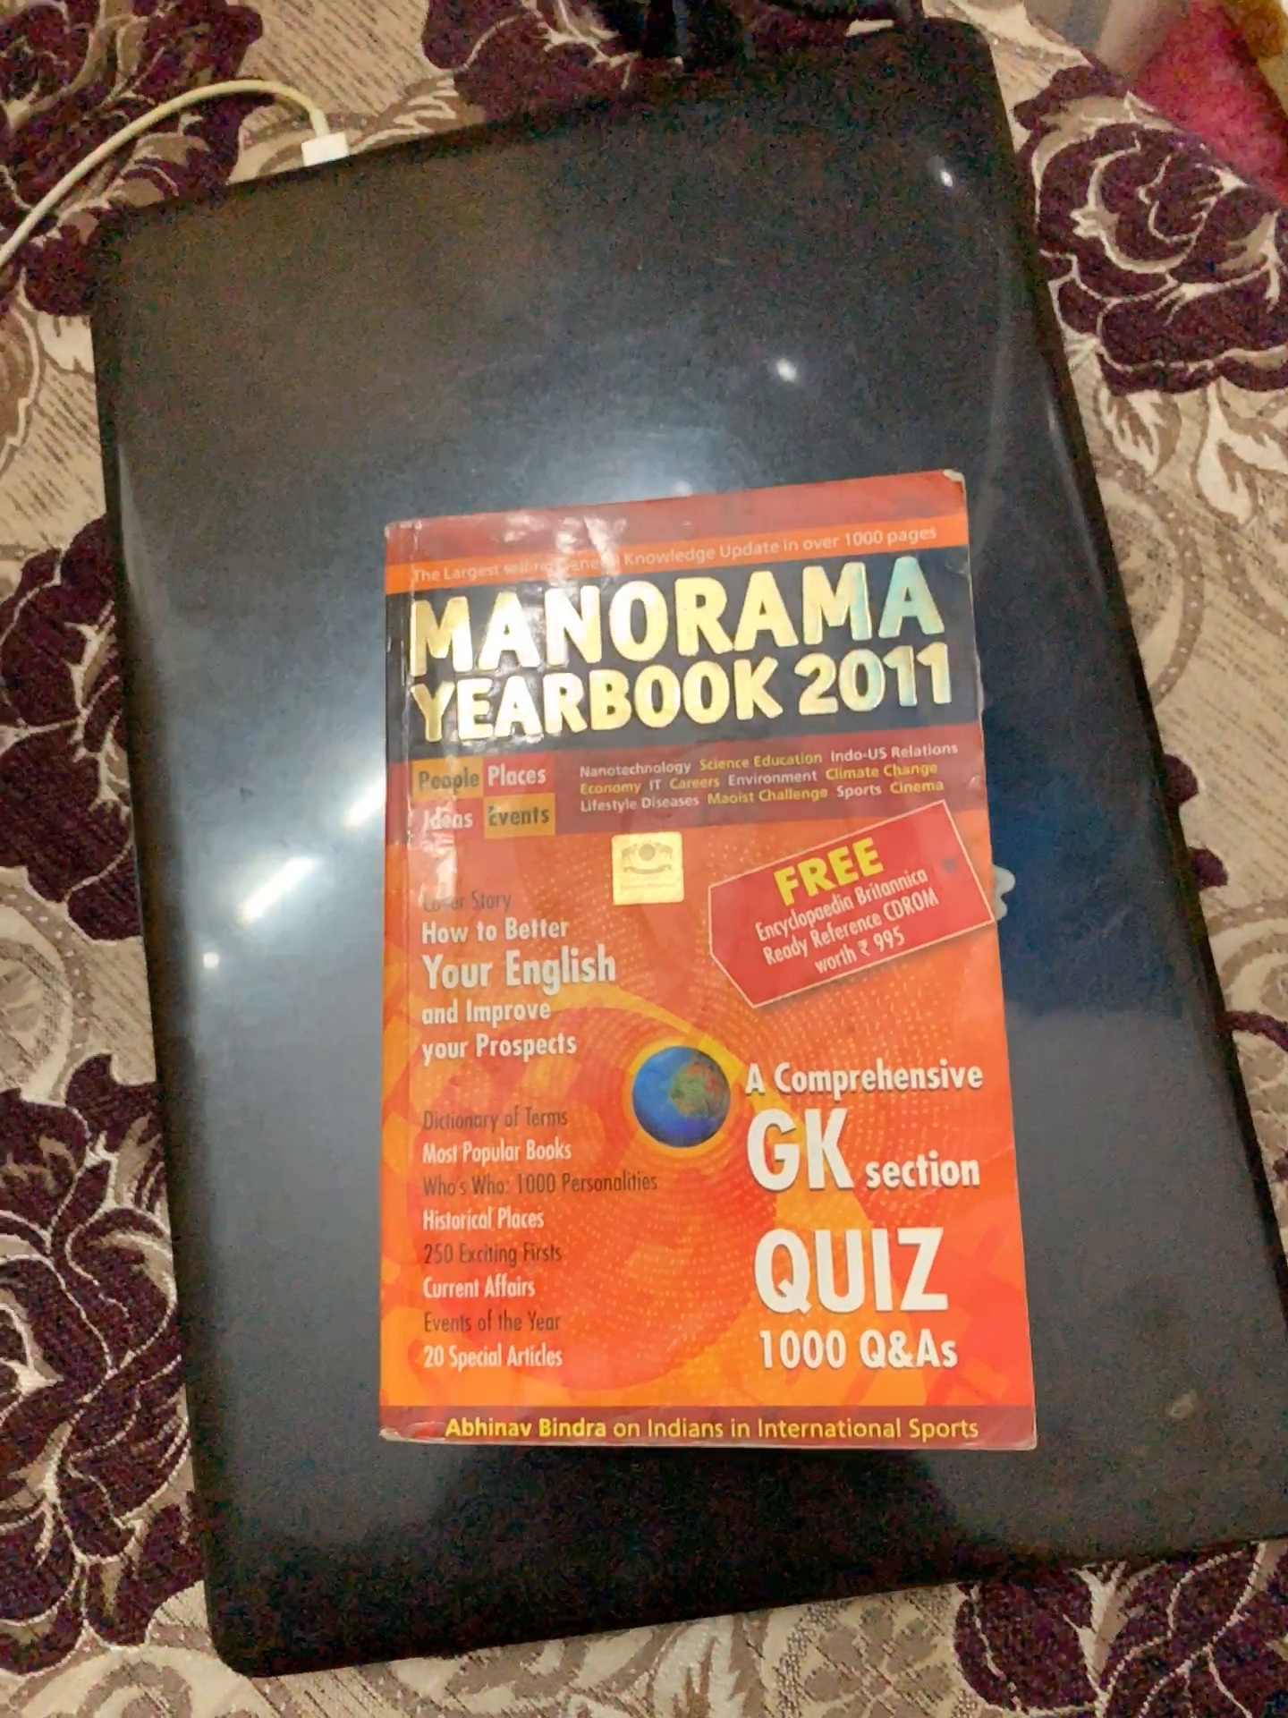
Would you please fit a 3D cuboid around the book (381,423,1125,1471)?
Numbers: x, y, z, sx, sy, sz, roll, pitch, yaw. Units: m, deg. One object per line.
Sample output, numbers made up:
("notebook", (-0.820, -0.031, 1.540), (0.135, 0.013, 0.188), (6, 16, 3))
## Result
("book", (0.019, 0.017, 0.298), (0.140, 0.050, 0.210), (-2, 78, 5))
